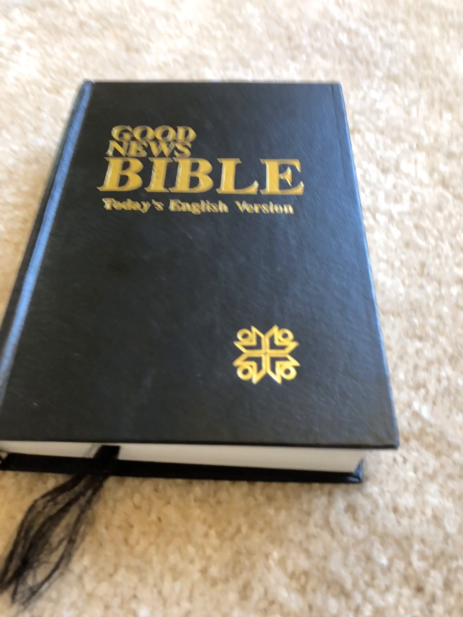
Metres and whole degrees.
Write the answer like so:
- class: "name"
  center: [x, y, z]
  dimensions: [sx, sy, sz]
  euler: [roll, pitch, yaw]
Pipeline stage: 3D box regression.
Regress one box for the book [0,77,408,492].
- class: "book"
  center: [-0.014, -0.022, 0.193]
  dimensions: [0.124, 0.040, 0.161]
  euler: [1, 55, 2]
